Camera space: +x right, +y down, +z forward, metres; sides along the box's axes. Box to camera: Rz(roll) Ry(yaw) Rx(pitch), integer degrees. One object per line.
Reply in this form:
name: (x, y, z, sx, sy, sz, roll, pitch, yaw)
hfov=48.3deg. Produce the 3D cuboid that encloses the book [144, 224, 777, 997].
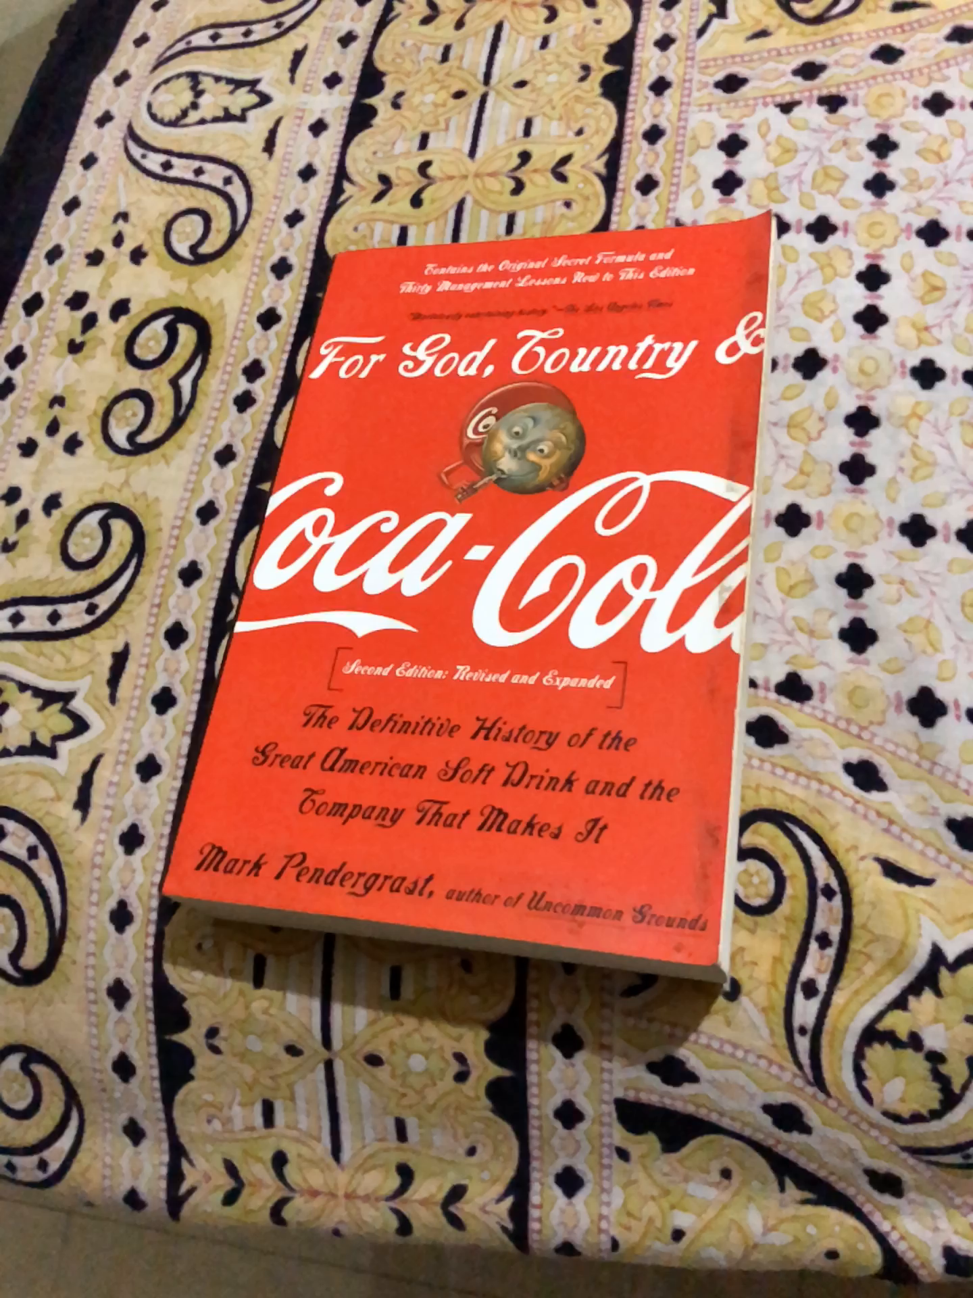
book: (0.004, -0.022, 0.346, 0.160, 0.050, 0.230, 2, 68, 17)
